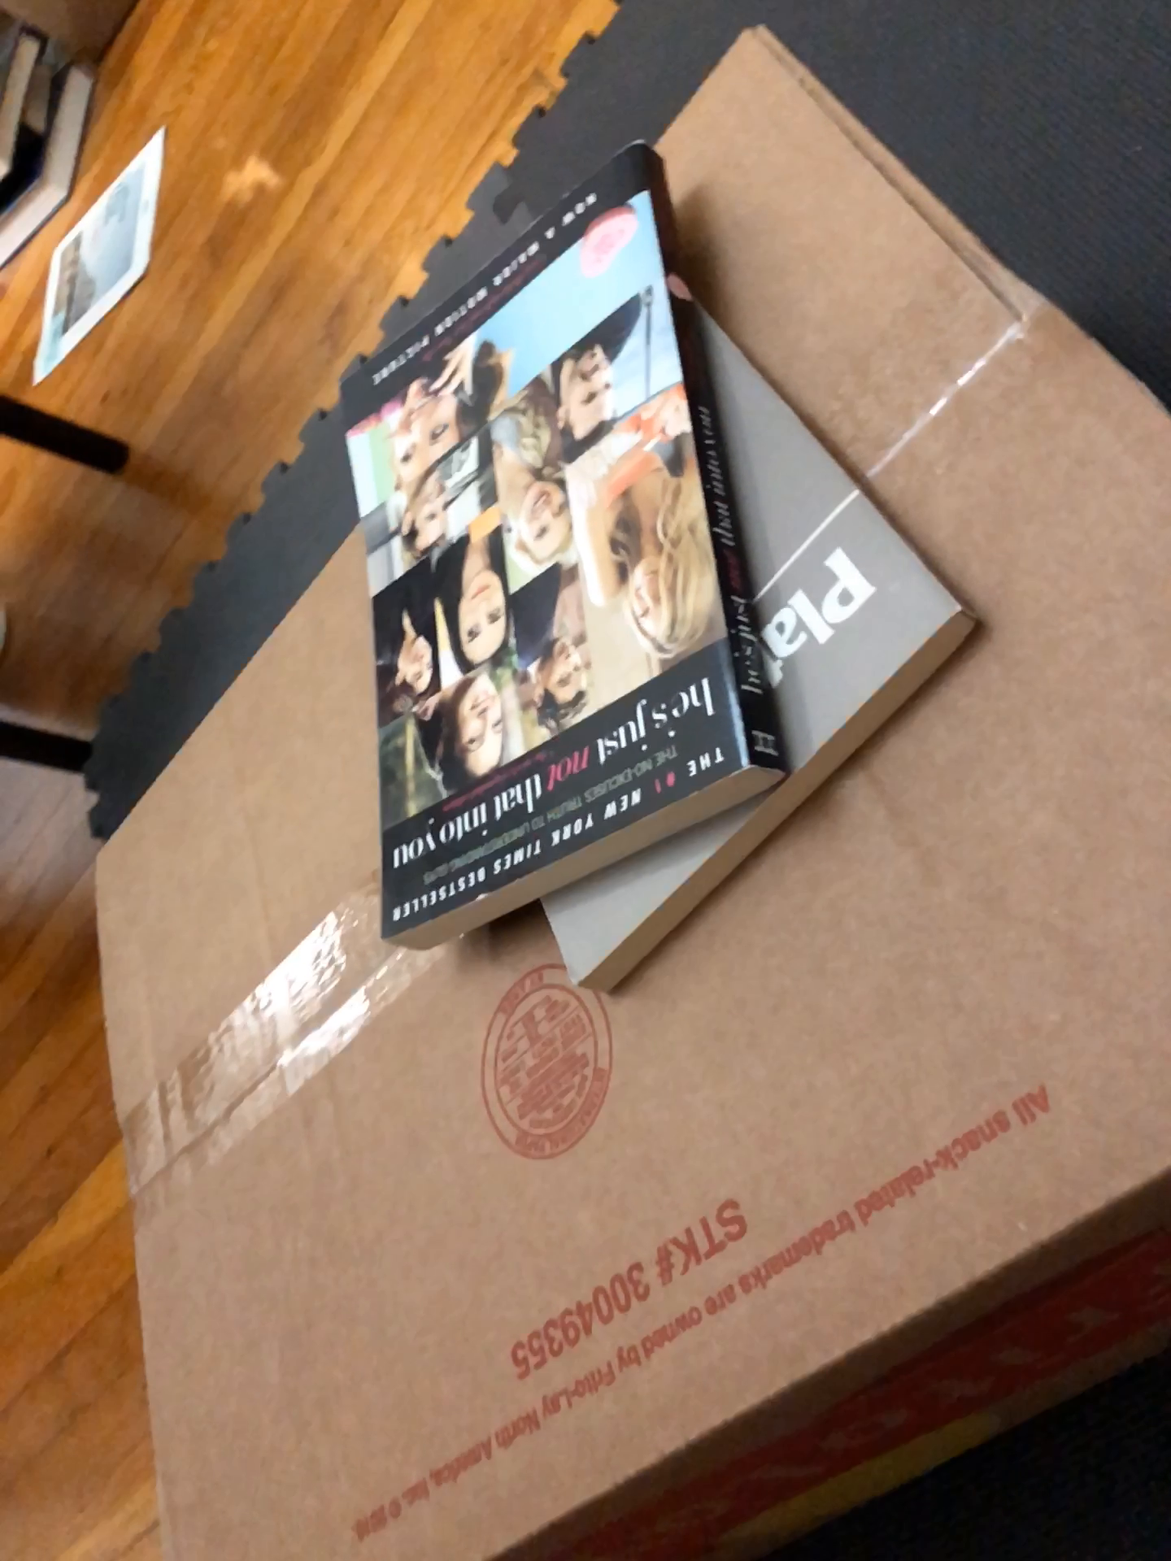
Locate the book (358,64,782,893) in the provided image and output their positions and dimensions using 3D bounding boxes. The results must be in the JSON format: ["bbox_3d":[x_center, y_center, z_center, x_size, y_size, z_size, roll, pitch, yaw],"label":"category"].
[{"bbox_3d":[-0.020,-0.097,0.412,0.150,0.010,0.231,-28,56,37],"label":"book"}]
